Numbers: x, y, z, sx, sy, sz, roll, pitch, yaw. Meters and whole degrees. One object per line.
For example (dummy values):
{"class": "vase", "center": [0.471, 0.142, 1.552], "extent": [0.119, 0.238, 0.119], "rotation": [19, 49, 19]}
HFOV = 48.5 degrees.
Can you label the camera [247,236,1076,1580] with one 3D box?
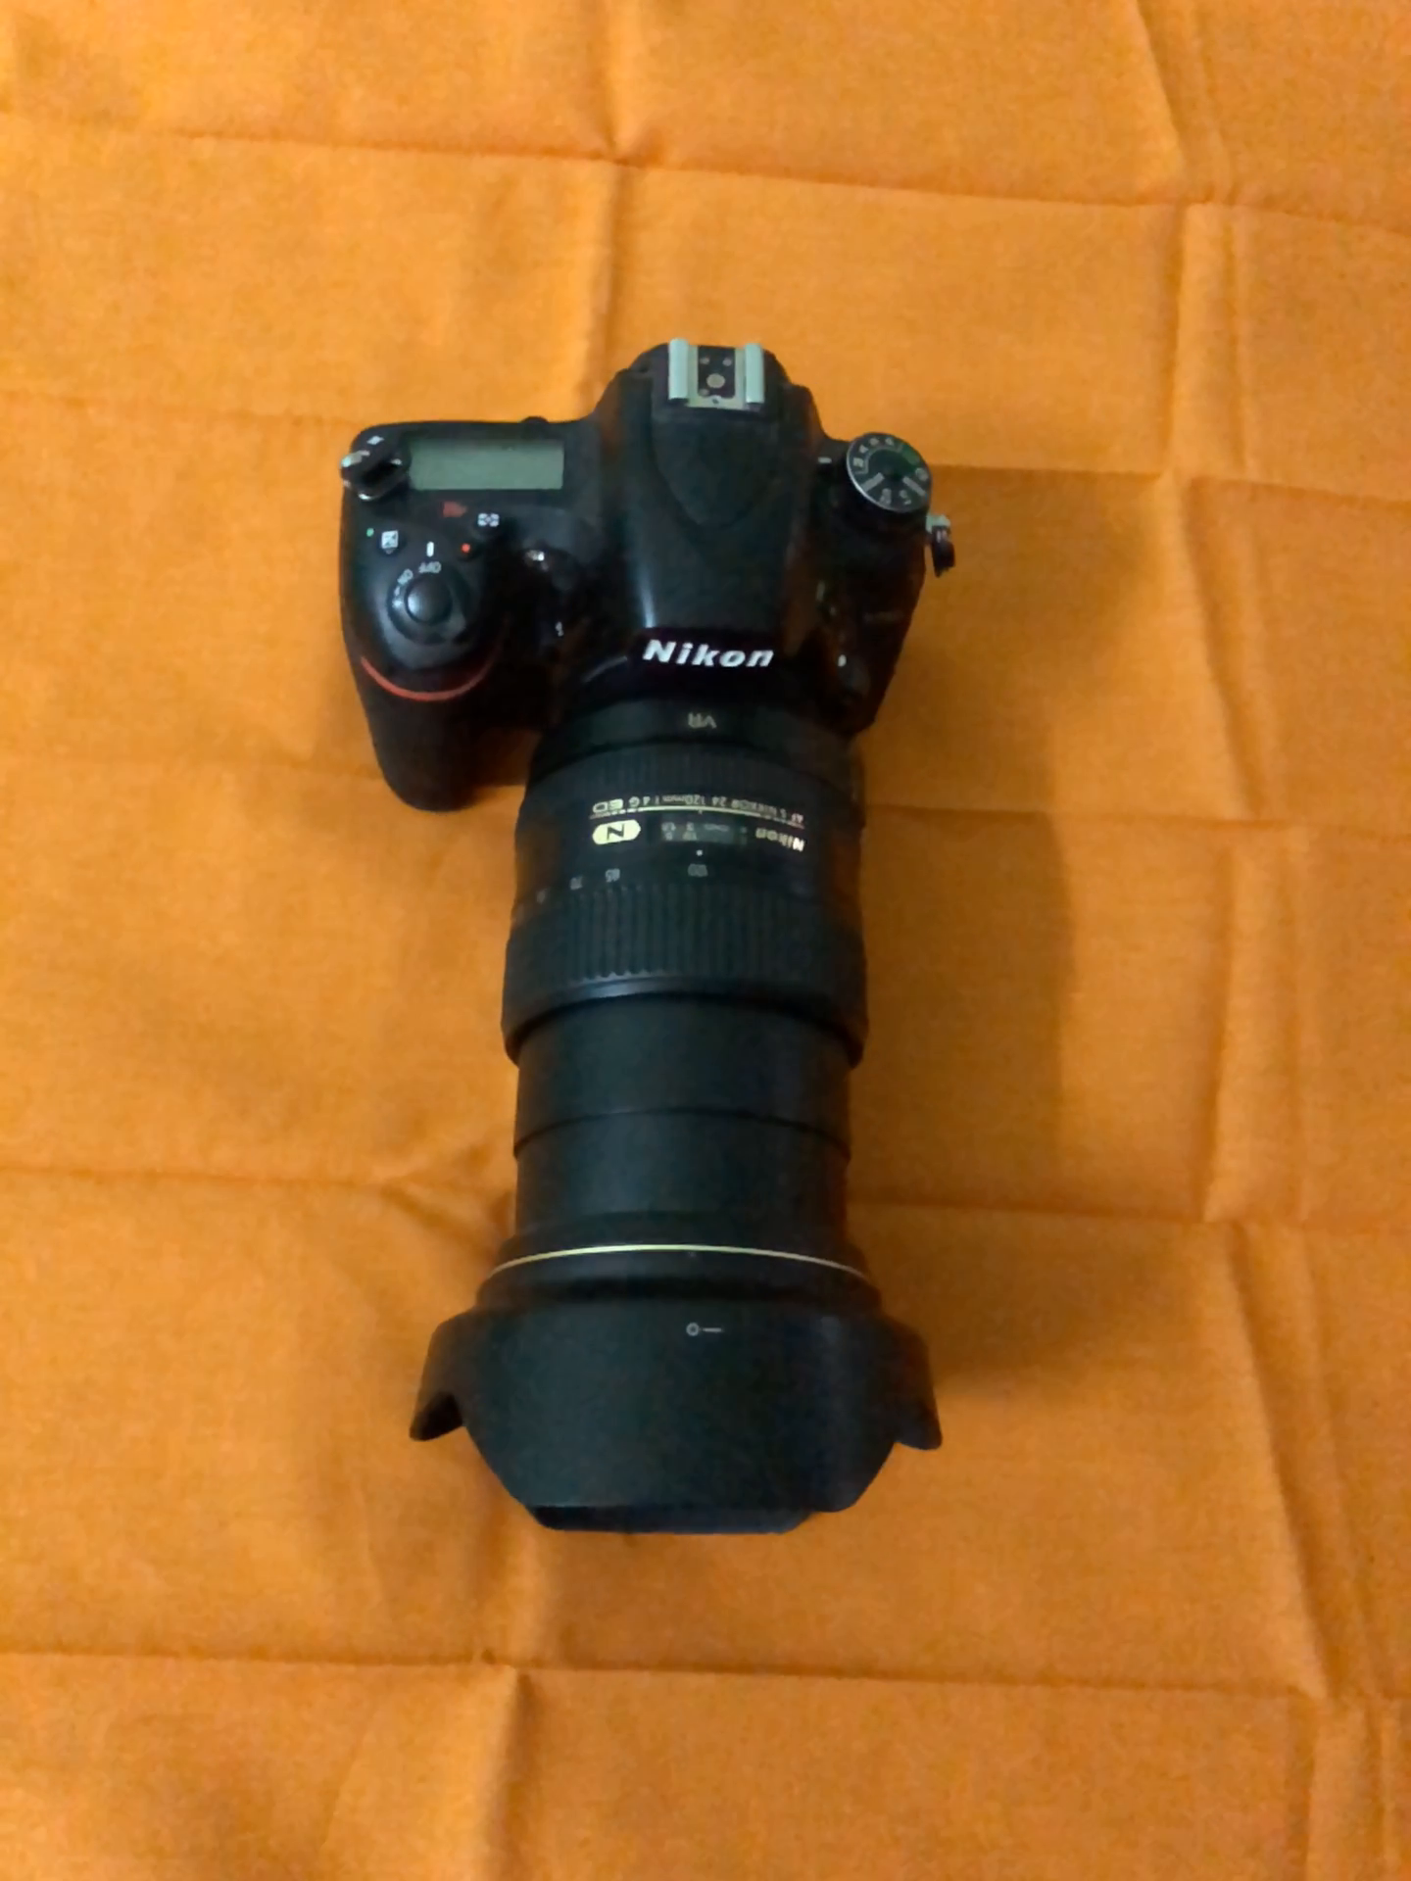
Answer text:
{"class": "camera", "center": [-0.012, -0.004, 0.348], "extent": [0.130, 0.120, 0.264], "rotation": [1, 70, -4]}
